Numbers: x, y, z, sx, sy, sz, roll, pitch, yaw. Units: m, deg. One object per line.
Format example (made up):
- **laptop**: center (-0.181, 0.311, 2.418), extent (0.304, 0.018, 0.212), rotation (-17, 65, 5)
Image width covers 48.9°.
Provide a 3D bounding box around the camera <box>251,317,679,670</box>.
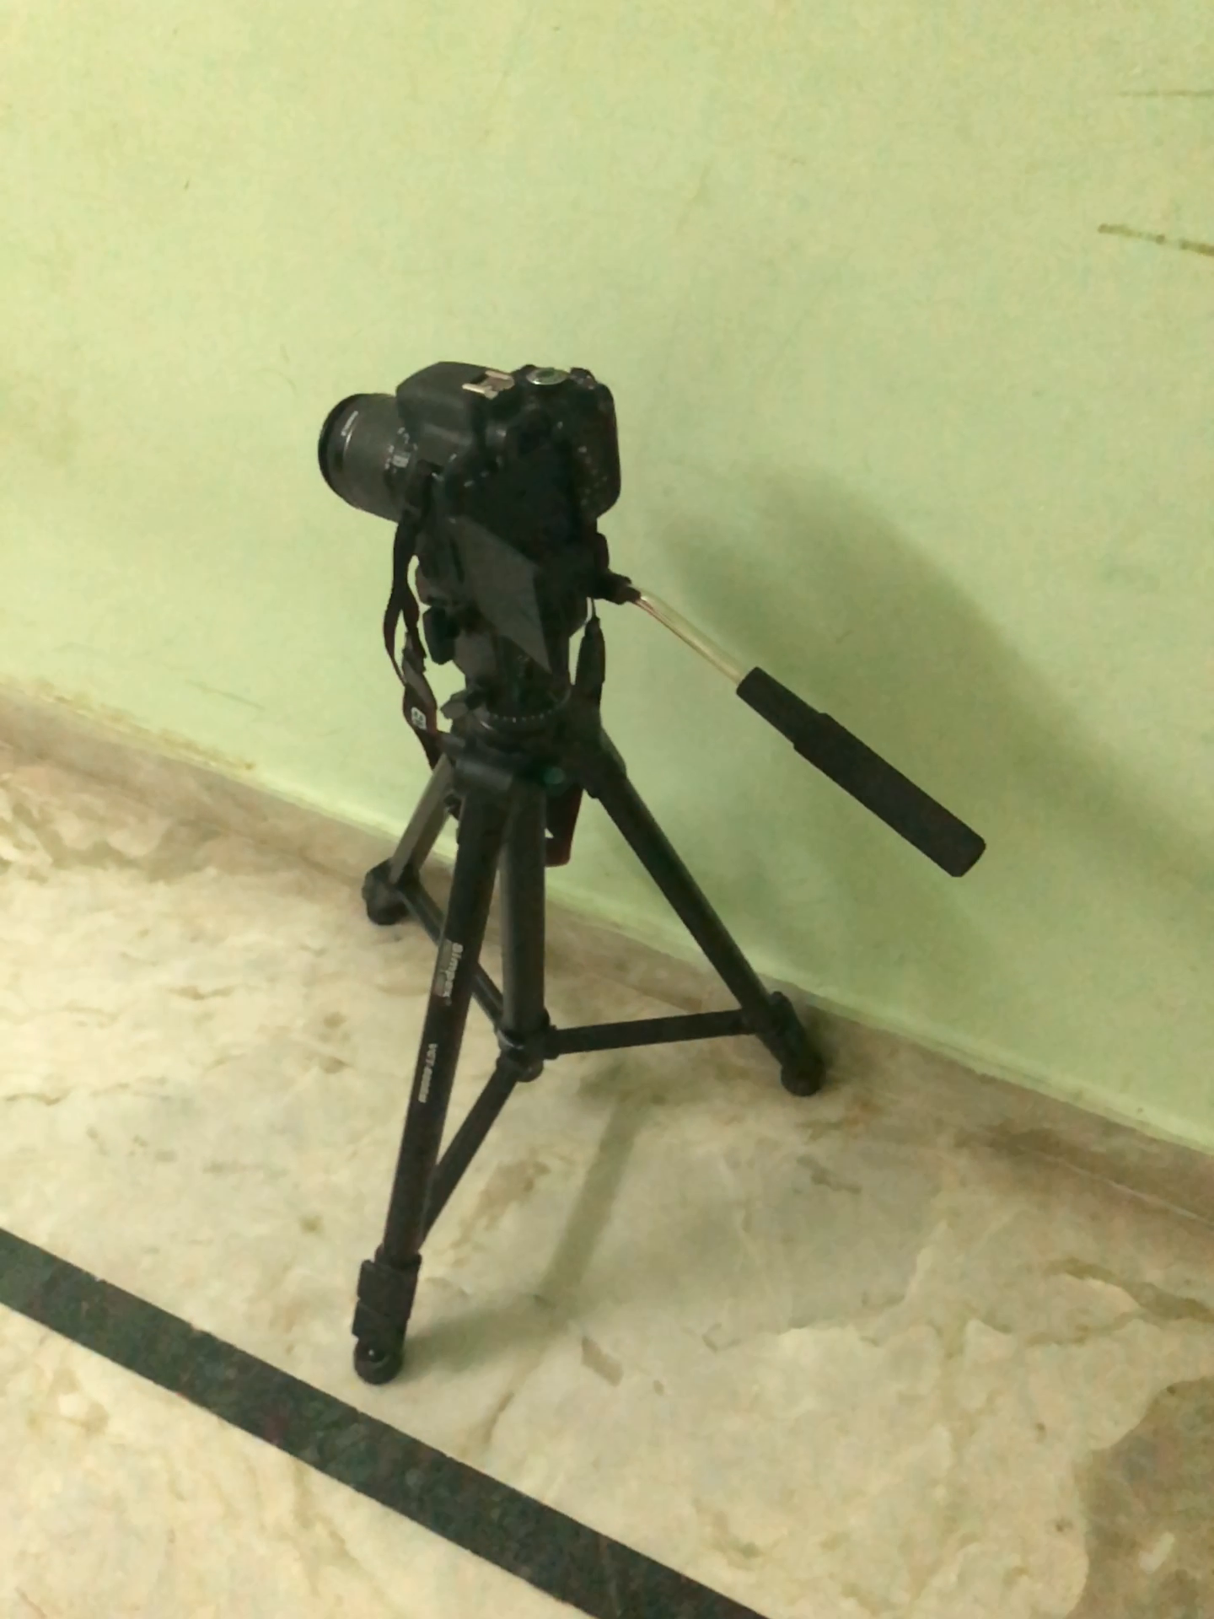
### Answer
- **camera**: center (-0.075, -0.184, 0.752), extent (0.190, 0.099, 0.131), rotation (24, 51, 26)
